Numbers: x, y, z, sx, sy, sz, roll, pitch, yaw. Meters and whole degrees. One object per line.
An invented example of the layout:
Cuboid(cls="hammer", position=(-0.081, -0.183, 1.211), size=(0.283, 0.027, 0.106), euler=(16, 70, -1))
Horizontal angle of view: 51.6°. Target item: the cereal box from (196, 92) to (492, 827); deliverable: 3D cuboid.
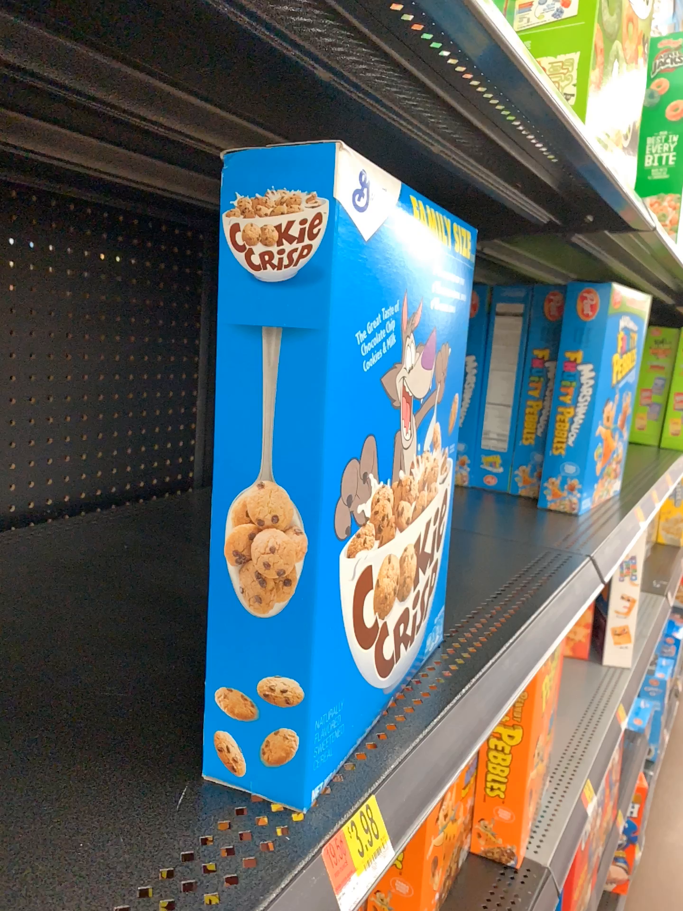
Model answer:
Cuboid(cls="cereal box", position=(0.016, -0.006, 0.446), size=(0.070, 0.339, 0.250), euler=(8, 11, 23))
